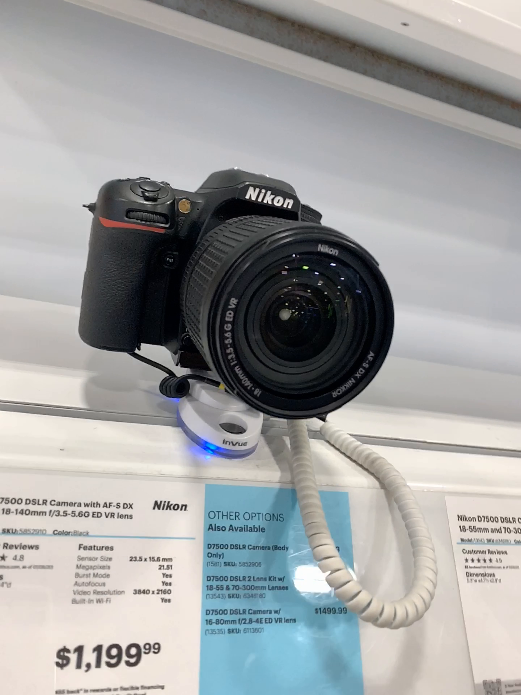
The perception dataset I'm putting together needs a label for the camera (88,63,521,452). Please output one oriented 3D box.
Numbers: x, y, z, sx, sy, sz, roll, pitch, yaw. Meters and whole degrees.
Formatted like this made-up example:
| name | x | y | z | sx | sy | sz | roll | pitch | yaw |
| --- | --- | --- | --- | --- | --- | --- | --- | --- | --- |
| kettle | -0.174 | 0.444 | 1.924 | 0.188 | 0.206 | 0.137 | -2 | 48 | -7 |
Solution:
| name | x | y | z | sx | sy | sz | roll | pitch | yaw |
| --- | --- | --- | --- | --- | --- | --- | --- | --- | --- |
| camera | -0.004 | -0.037 | 0.257 | 0.130 | 0.107 | 0.173 | 7 | 10 | -21 |
